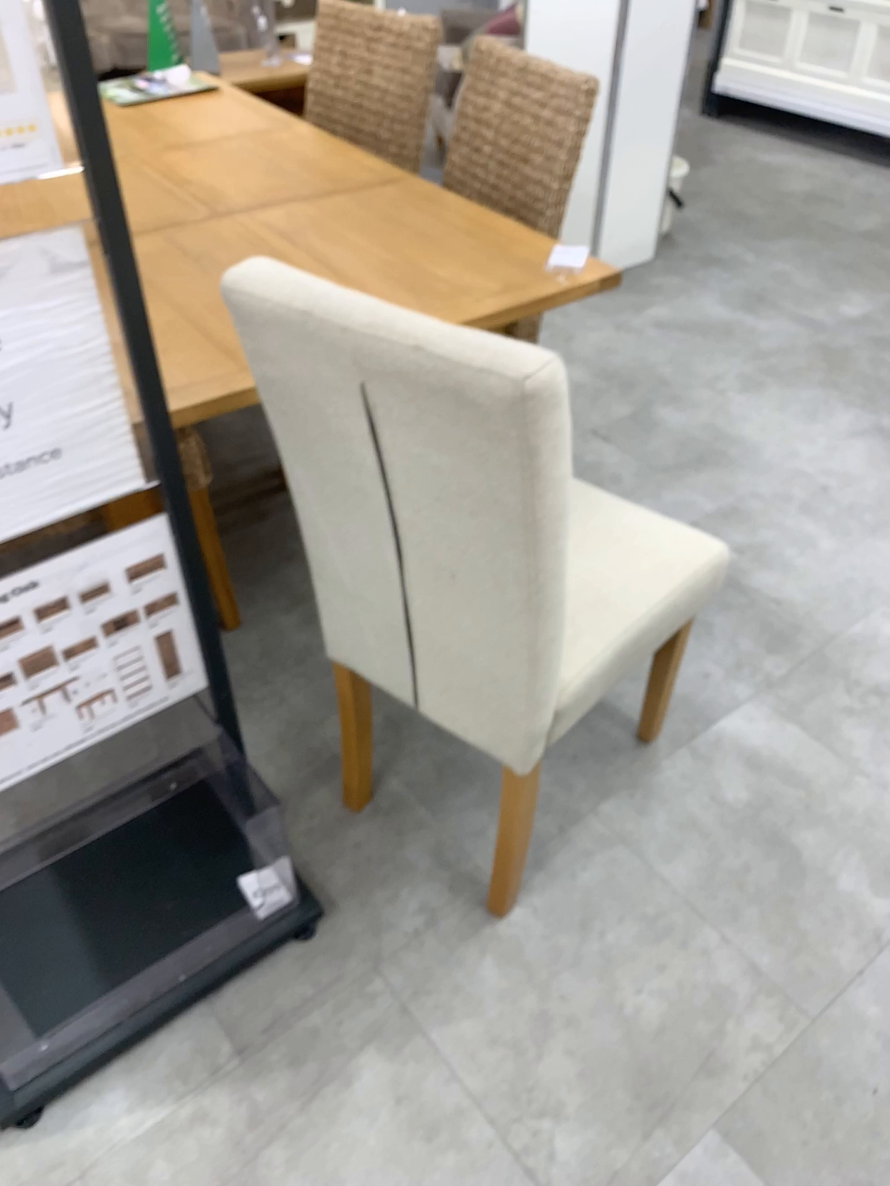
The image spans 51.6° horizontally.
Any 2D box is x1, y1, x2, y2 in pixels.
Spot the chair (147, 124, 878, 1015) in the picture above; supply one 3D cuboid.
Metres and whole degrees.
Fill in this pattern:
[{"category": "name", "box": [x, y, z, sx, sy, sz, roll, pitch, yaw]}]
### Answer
[{"category": "chair", "box": [0.088, -0.033, 1.231, 0.481, 0.896, 0.613, 28, 48, 28]}]
